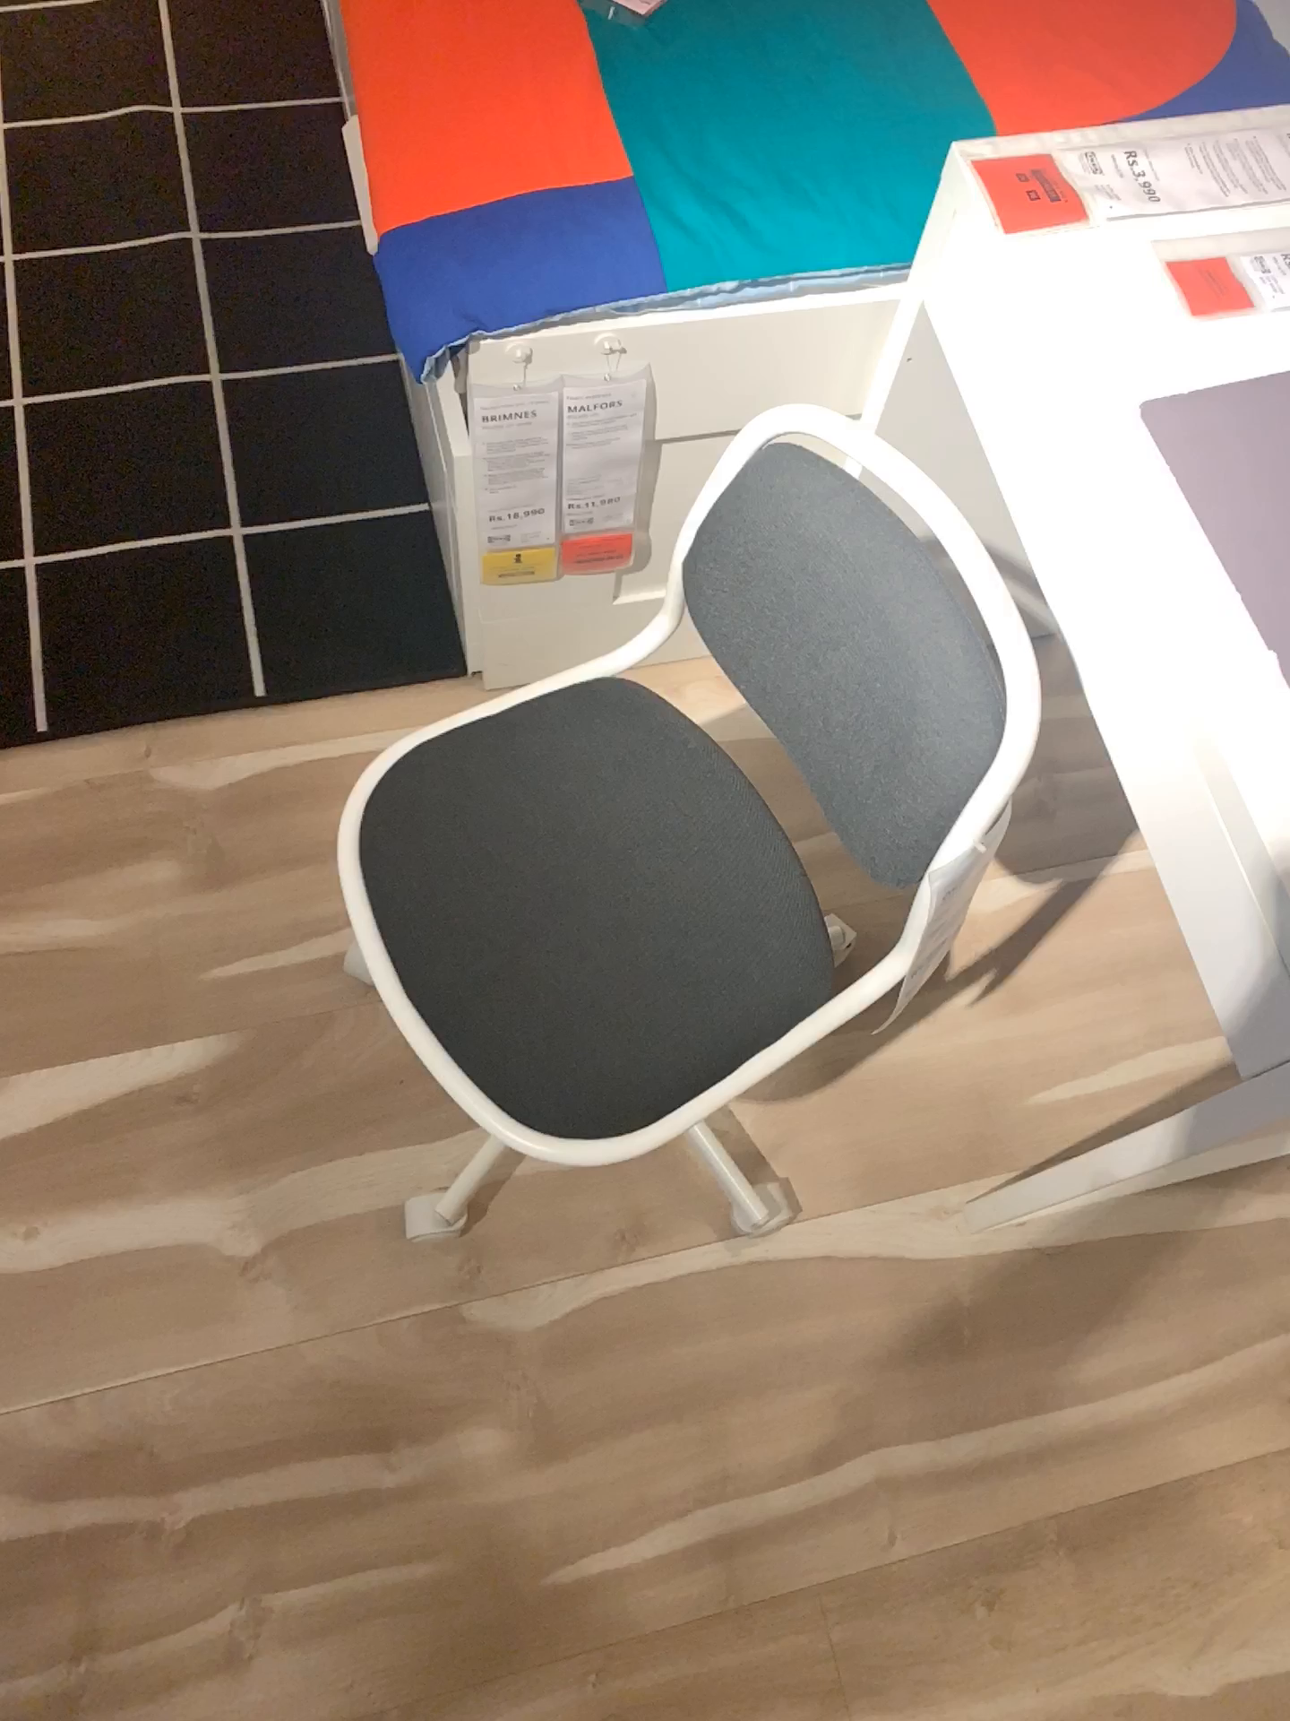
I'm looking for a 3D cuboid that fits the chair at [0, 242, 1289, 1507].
[{"bbox_3d":[-0.024,0.051,1.051,0.590,0.629,0.570,-29,73,-16],"label":"chair"}]
